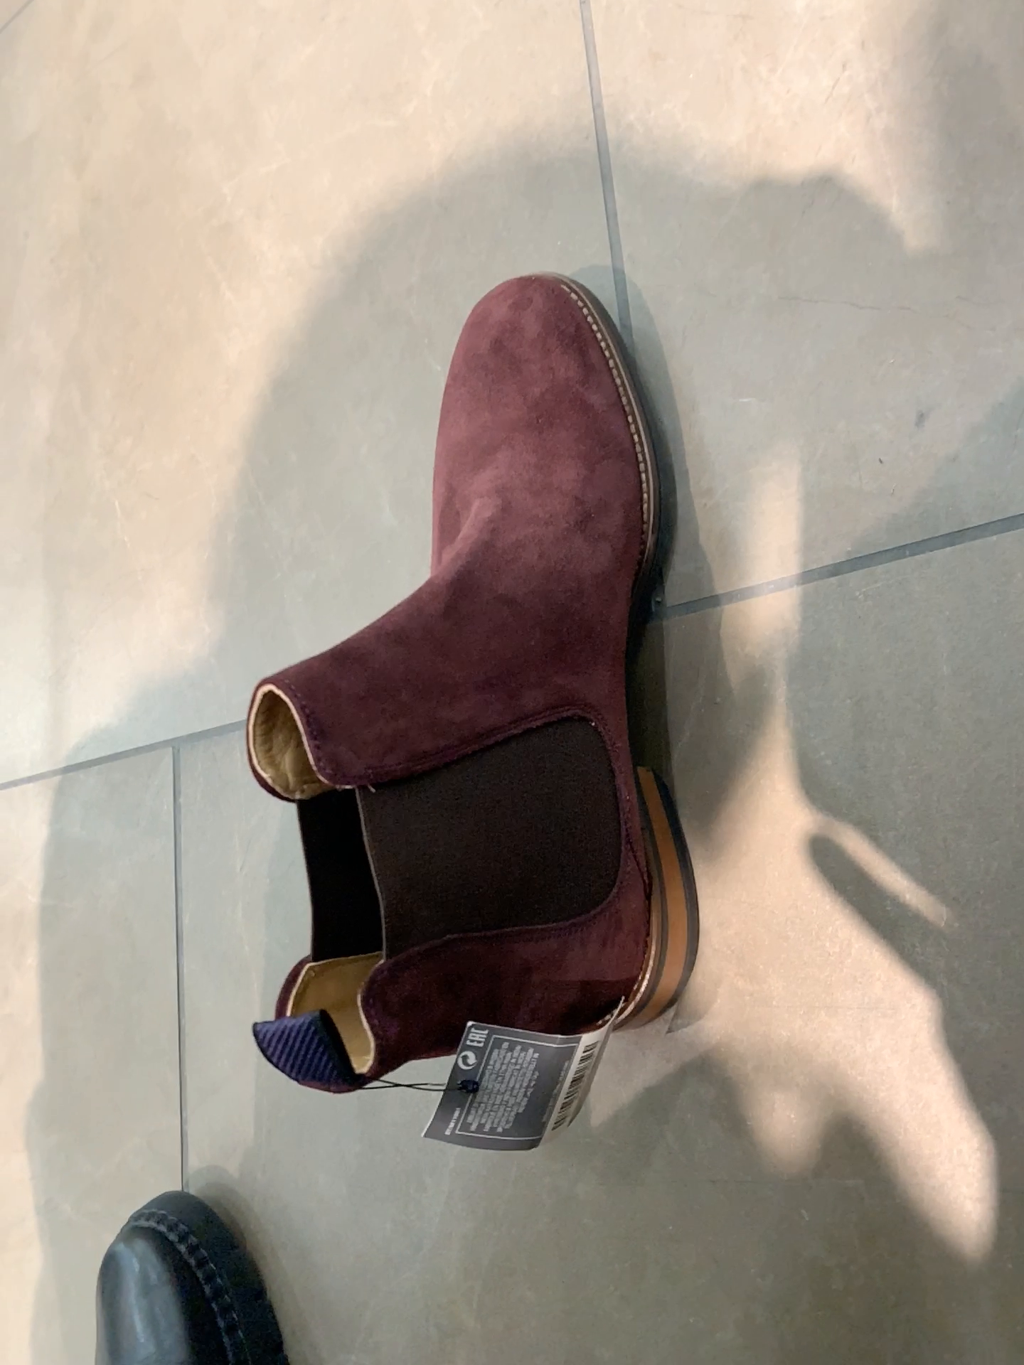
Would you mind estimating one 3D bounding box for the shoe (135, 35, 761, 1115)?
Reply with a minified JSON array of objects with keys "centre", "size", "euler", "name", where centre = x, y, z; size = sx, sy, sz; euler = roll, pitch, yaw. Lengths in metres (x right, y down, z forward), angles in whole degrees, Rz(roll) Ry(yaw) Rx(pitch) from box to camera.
[{"centre":[-0.024,-0.024,0.368],"size":[0.114,0.161,0.298],"euler":[-16,73,34],"name":"shoe"}]
